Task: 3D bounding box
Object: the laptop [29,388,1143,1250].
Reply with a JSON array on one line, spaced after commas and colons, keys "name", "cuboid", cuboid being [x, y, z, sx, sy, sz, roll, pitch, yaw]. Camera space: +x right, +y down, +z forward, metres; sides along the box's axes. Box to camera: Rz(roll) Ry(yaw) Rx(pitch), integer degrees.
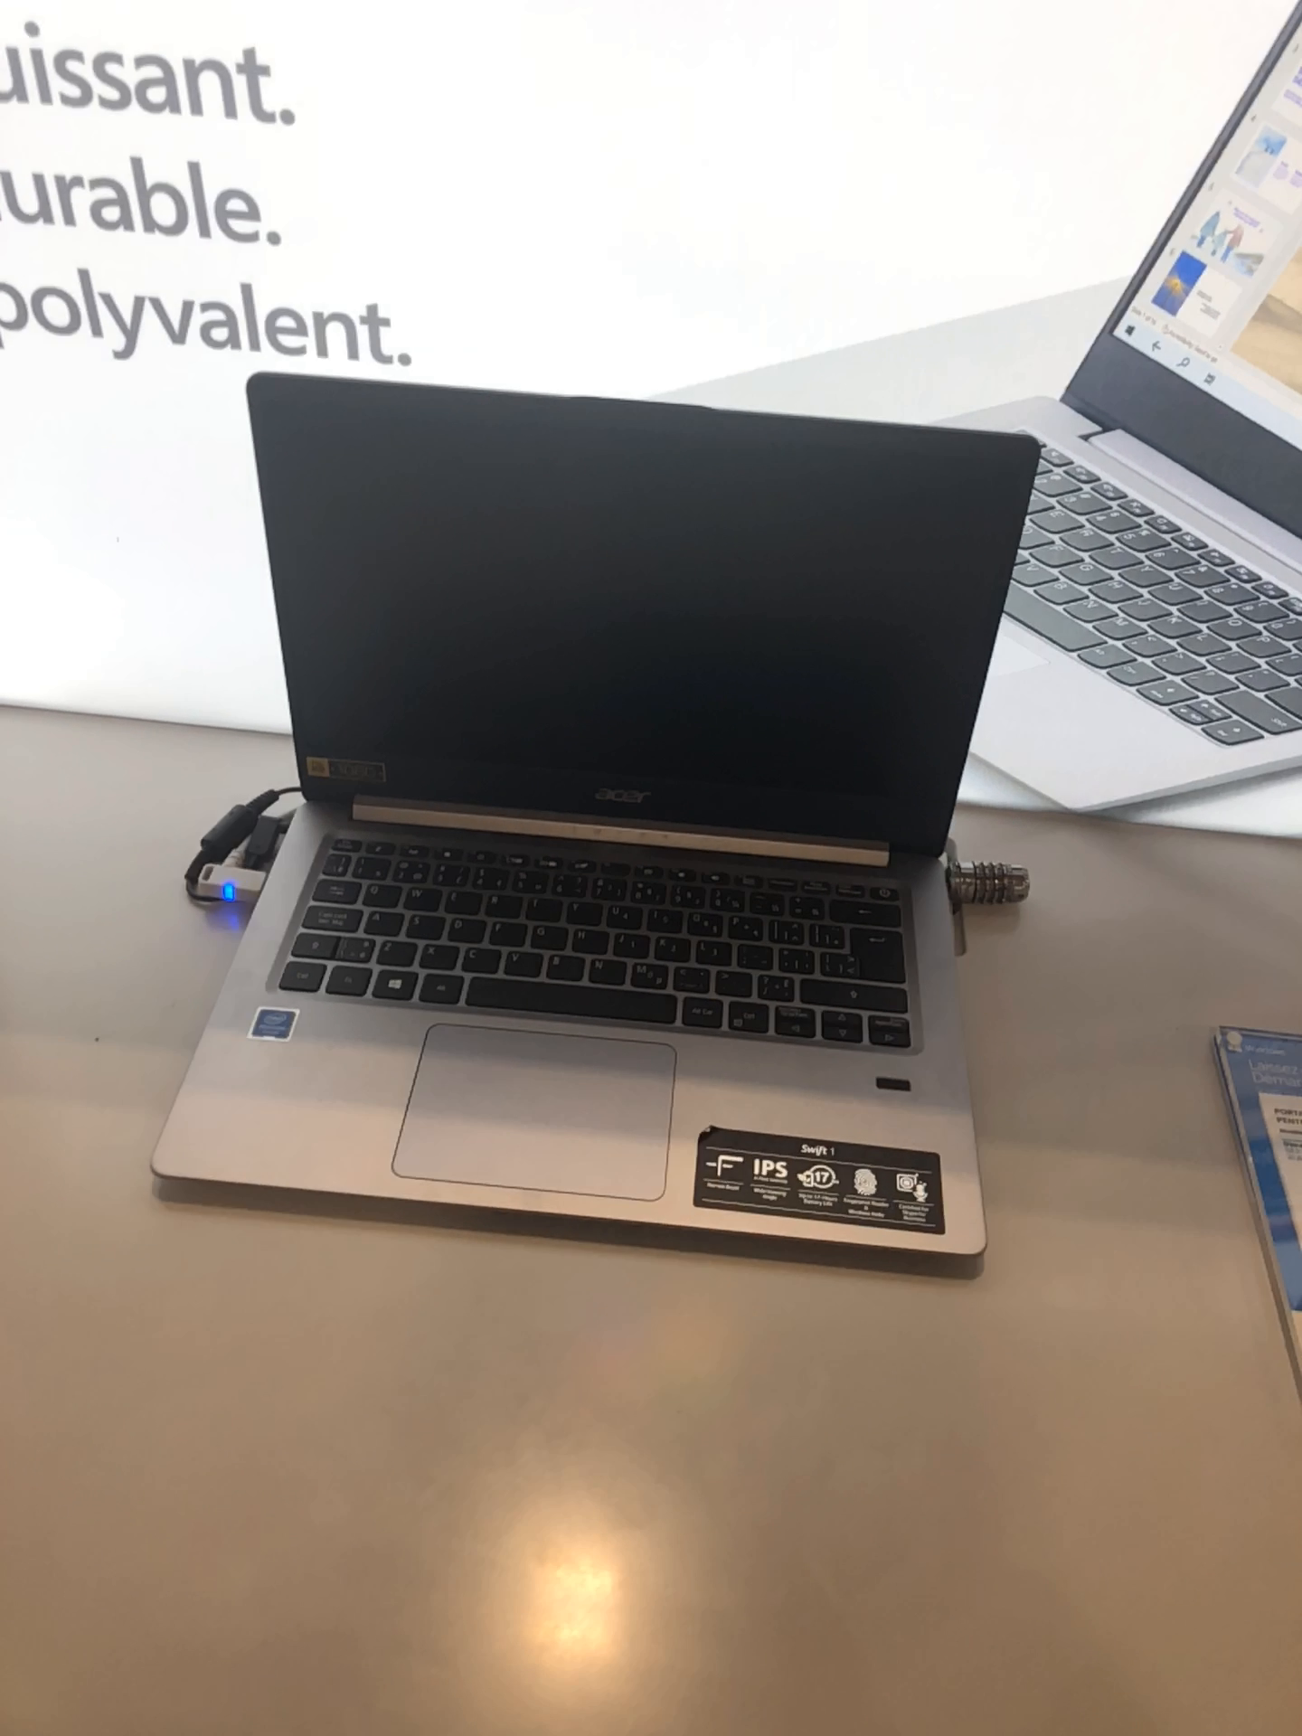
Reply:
[{"name": "laptop", "cuboid": [-0.016, -0.025, 0.551, 0.311, 0.210, 0.227, 5, 41, 2]}]
